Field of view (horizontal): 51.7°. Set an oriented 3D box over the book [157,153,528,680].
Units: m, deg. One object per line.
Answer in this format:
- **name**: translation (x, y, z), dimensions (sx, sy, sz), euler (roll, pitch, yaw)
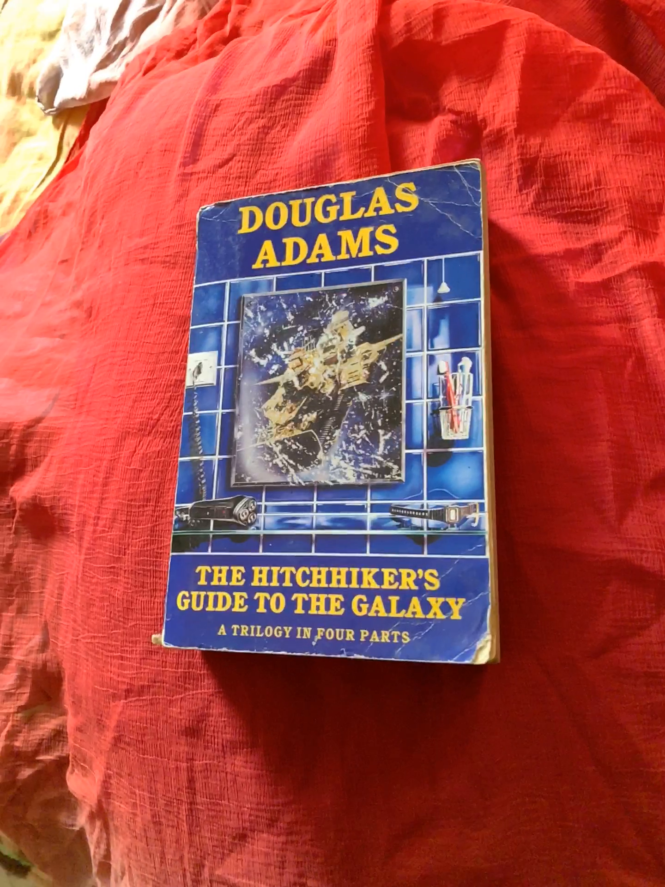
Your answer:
- **book**: translation (0.008, -0.011, 0.276), dimensions (0.130, 0.045, 0.187), euler (-2, 76, 18)
